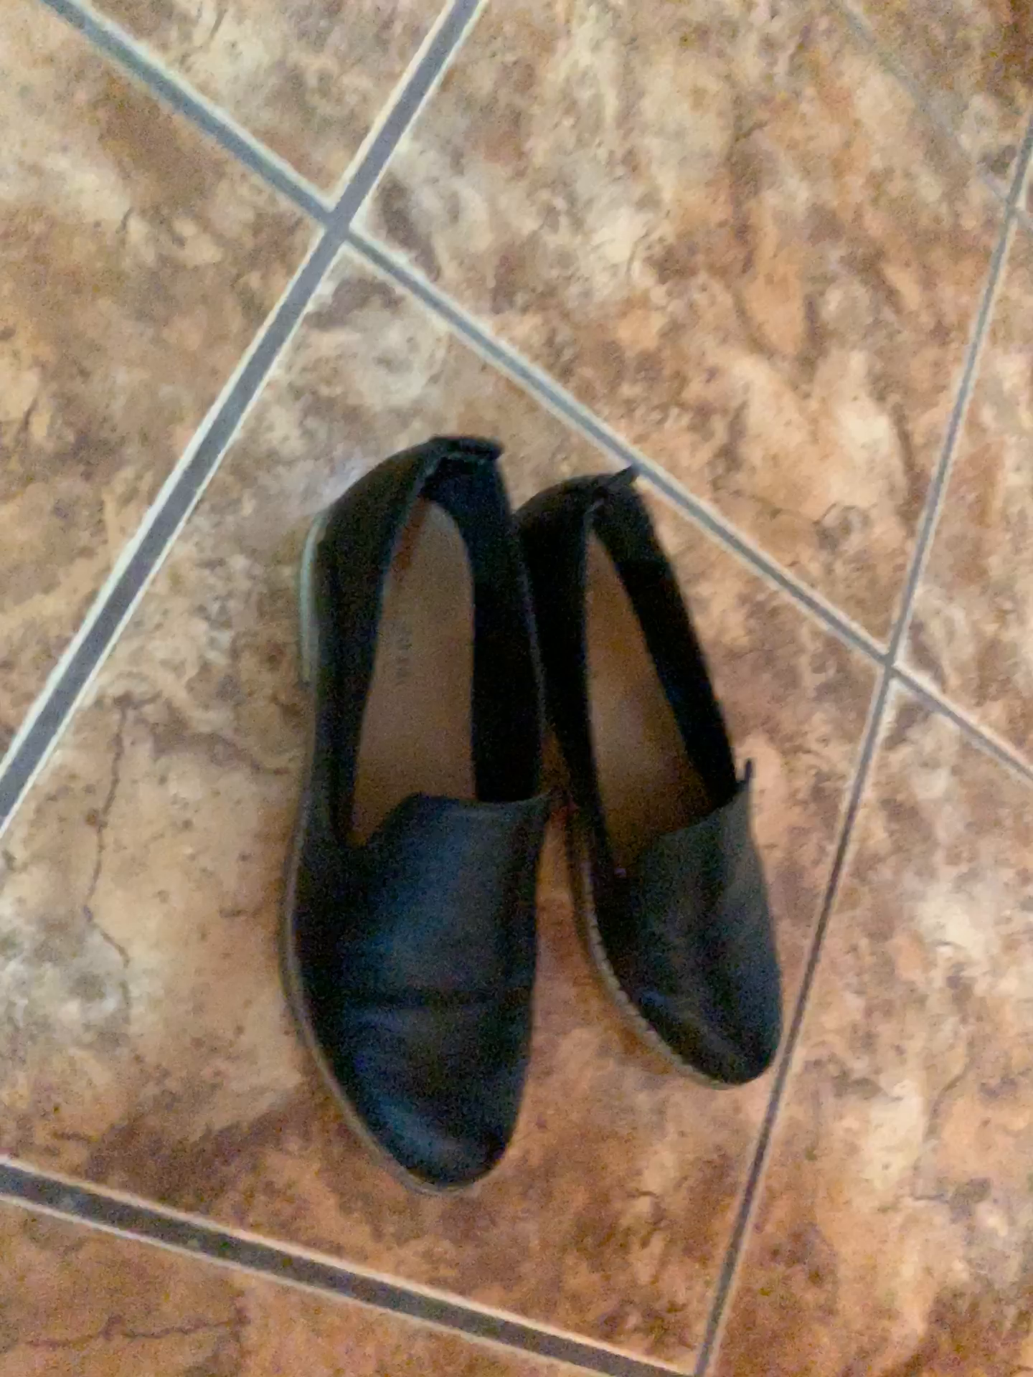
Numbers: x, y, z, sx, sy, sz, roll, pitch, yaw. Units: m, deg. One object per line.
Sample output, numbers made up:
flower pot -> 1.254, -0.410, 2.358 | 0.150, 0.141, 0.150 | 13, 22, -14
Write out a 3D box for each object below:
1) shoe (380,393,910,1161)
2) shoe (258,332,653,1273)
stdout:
shoe -> 0.050, 0.031, 0.396 | 0.088, 0.070, 0.255 | -26, 96, -33
shoe -> -0.024, 0.029, 0.338 | 0.086, 0.070, 0.255 | 0, 81, -33
